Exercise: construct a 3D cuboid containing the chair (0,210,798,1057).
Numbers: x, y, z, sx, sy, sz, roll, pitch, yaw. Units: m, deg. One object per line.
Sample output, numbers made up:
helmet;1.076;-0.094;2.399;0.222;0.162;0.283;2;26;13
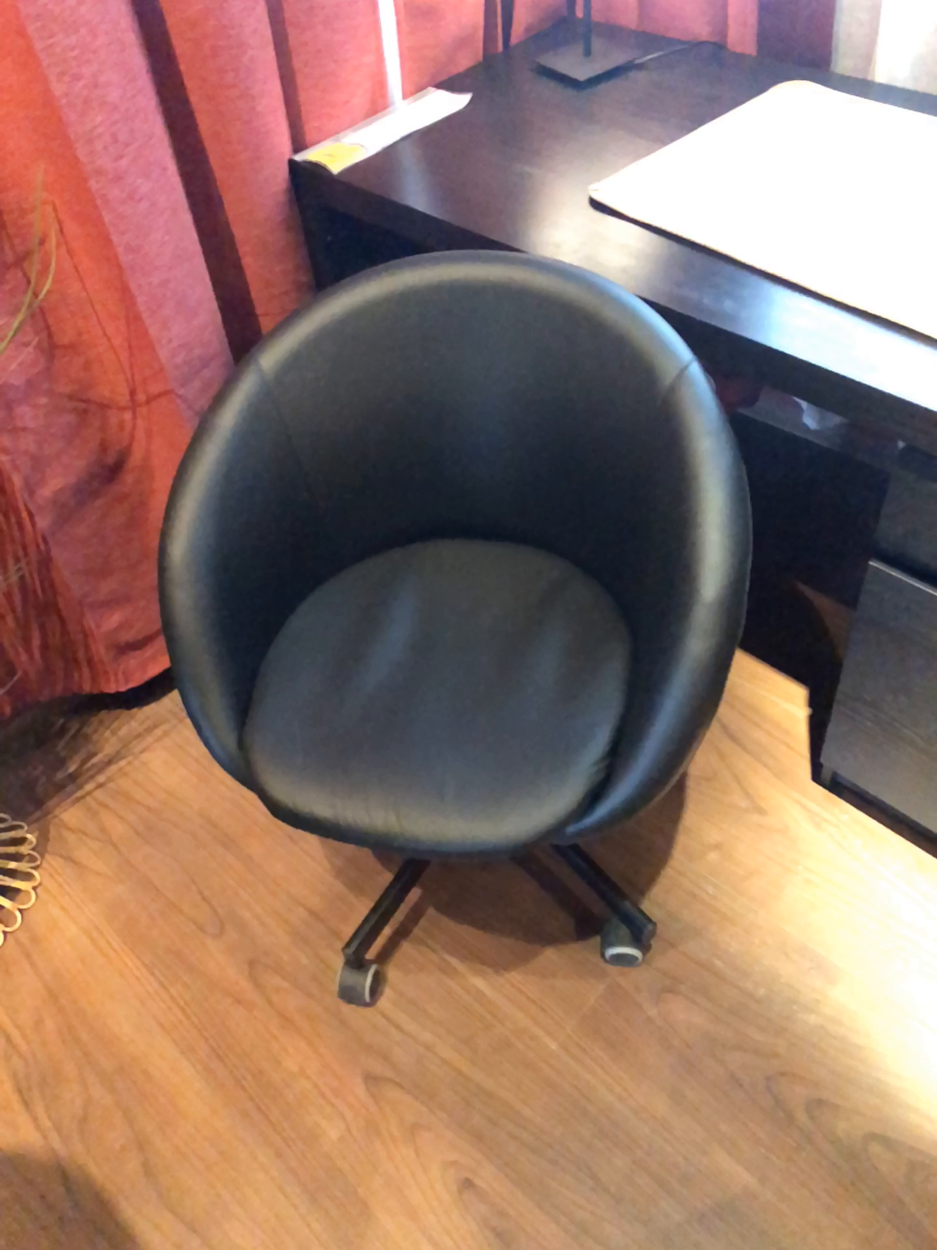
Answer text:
chair;-0.026;0.022;1.135;0.630;0.696;0.573;3;48;10
